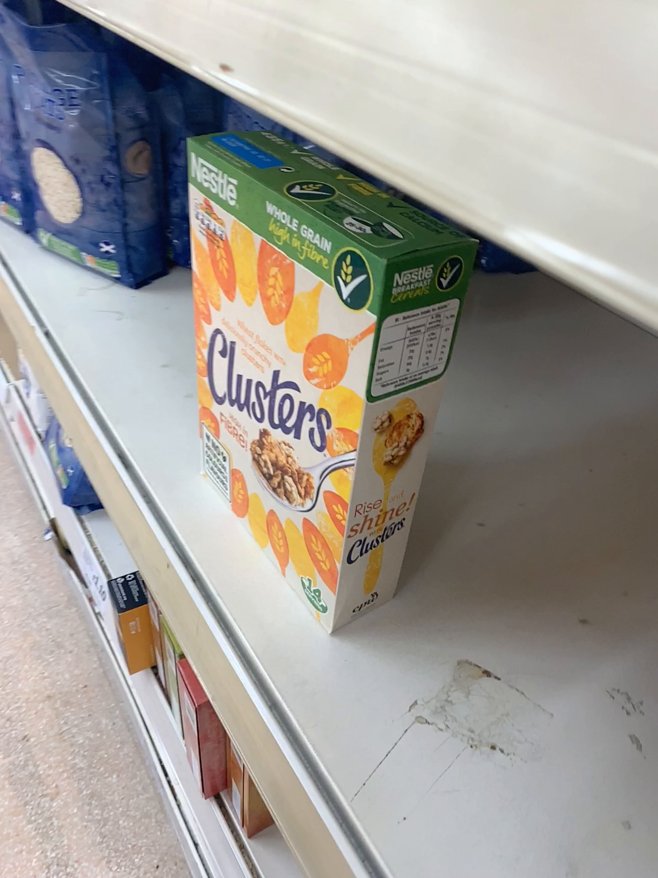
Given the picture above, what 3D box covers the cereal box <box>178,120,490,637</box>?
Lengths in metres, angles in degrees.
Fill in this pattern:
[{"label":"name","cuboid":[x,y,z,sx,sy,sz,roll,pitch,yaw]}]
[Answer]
[{"label":"cereal box","cuboid":[-0.021,-0.037,0.442,0.060,0.267,0.201,-21,46,-31]}]
